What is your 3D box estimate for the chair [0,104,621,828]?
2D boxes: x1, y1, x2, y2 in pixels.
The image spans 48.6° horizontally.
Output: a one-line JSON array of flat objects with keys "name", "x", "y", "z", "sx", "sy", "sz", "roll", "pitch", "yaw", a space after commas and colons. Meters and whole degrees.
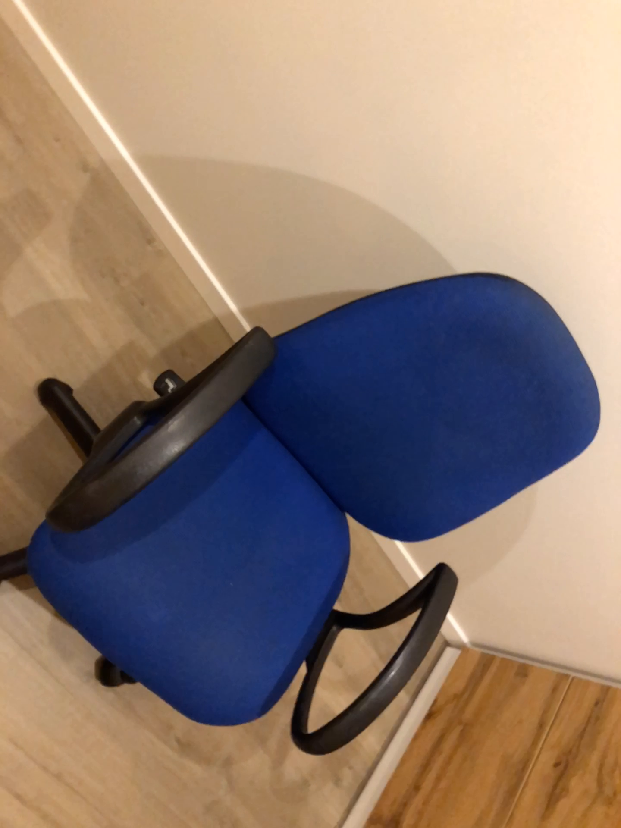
[{"name": "chair", "x": -0.070, "y": 0.161, "z": 1.133, "sx": 0.697, "sy": 0.905, "sz": 0.702, "roll": 49, "pitch": 59, "yaw": -25}]
